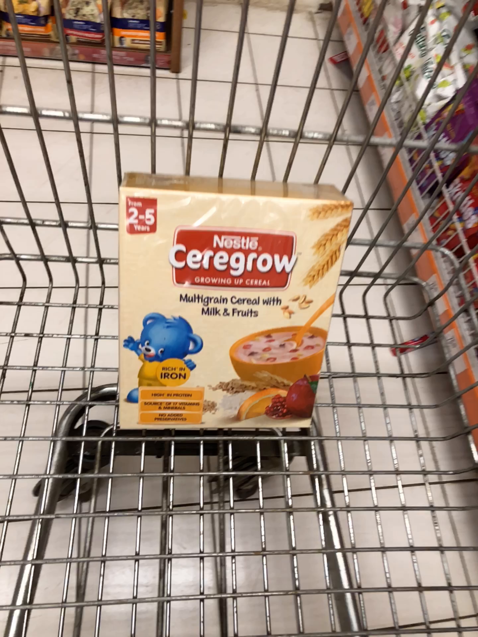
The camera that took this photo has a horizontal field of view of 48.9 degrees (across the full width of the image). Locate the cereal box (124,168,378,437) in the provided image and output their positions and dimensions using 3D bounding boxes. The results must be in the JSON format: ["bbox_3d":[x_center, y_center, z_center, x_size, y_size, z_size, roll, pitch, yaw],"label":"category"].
[{"bbox_3d":[-0.002,-0.004,0.391,0.160,0.189,0.050,2,26,-10],"label":"cereal box"}]
